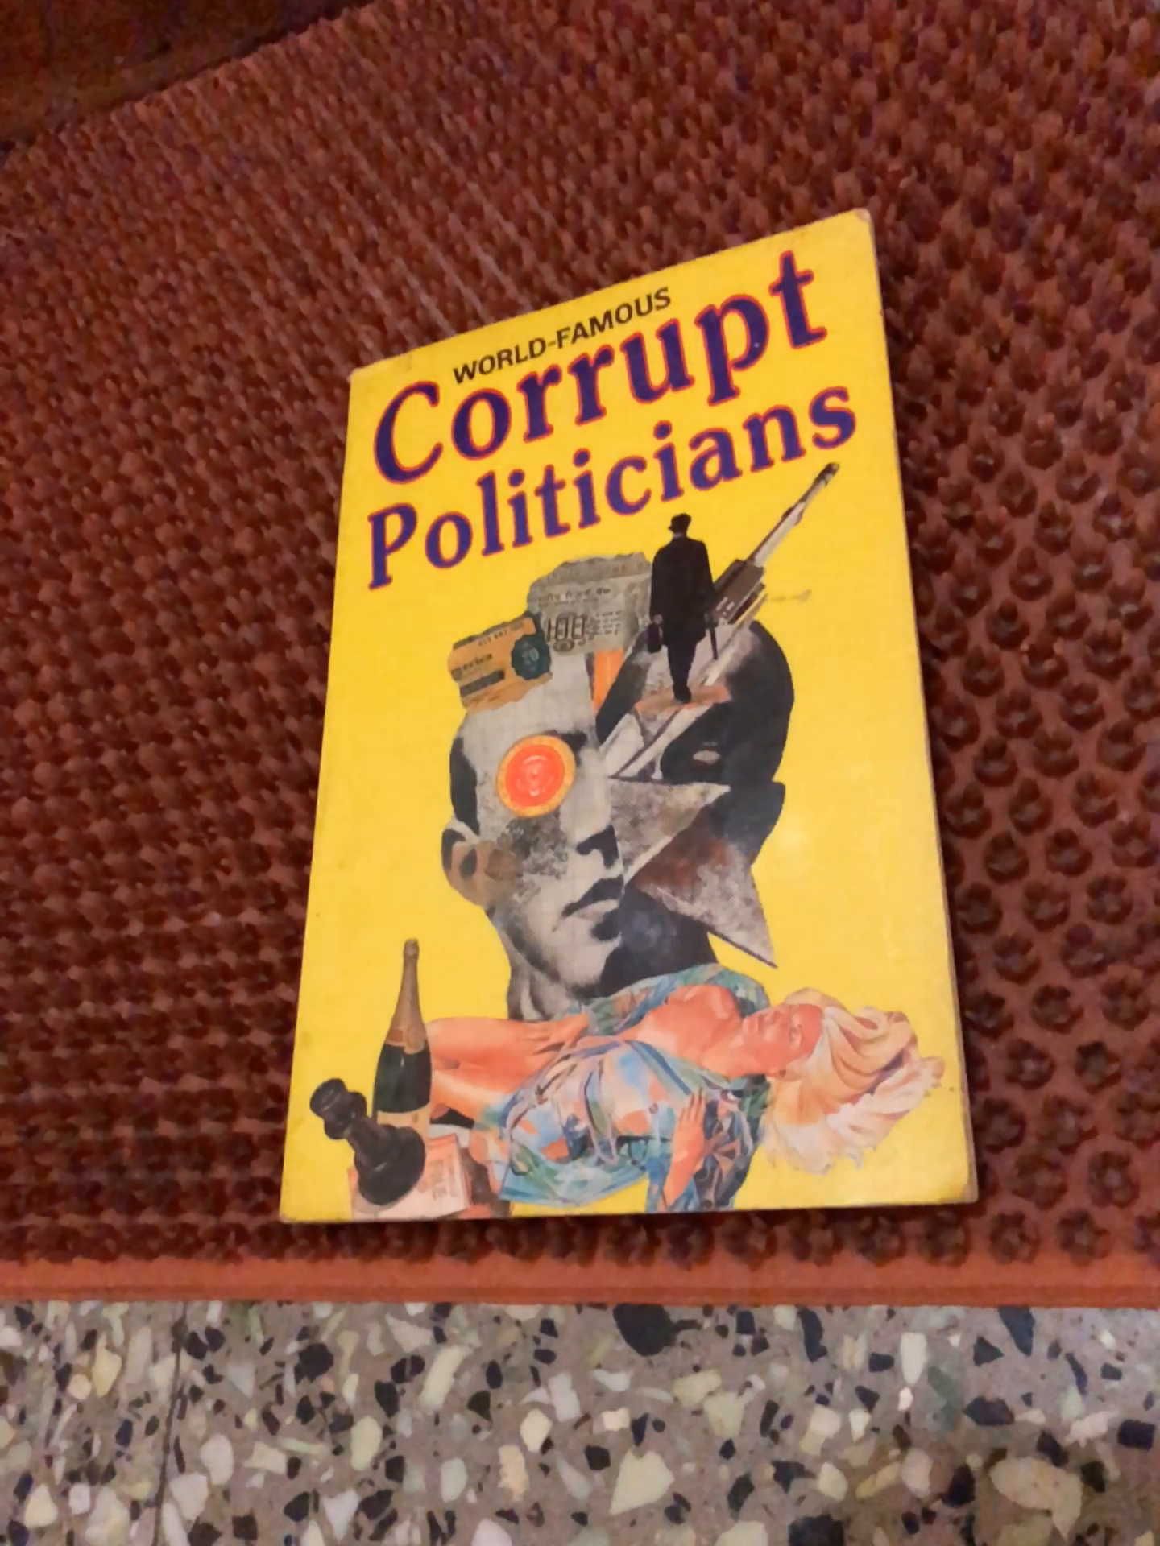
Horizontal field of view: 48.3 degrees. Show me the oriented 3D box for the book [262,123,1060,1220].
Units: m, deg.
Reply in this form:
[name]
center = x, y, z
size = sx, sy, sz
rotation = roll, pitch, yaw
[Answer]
[book]
center = 0.008, -0.026, 0.285
size = 0.150, 0.020, 0.230
rotation = -10, 66, 21
